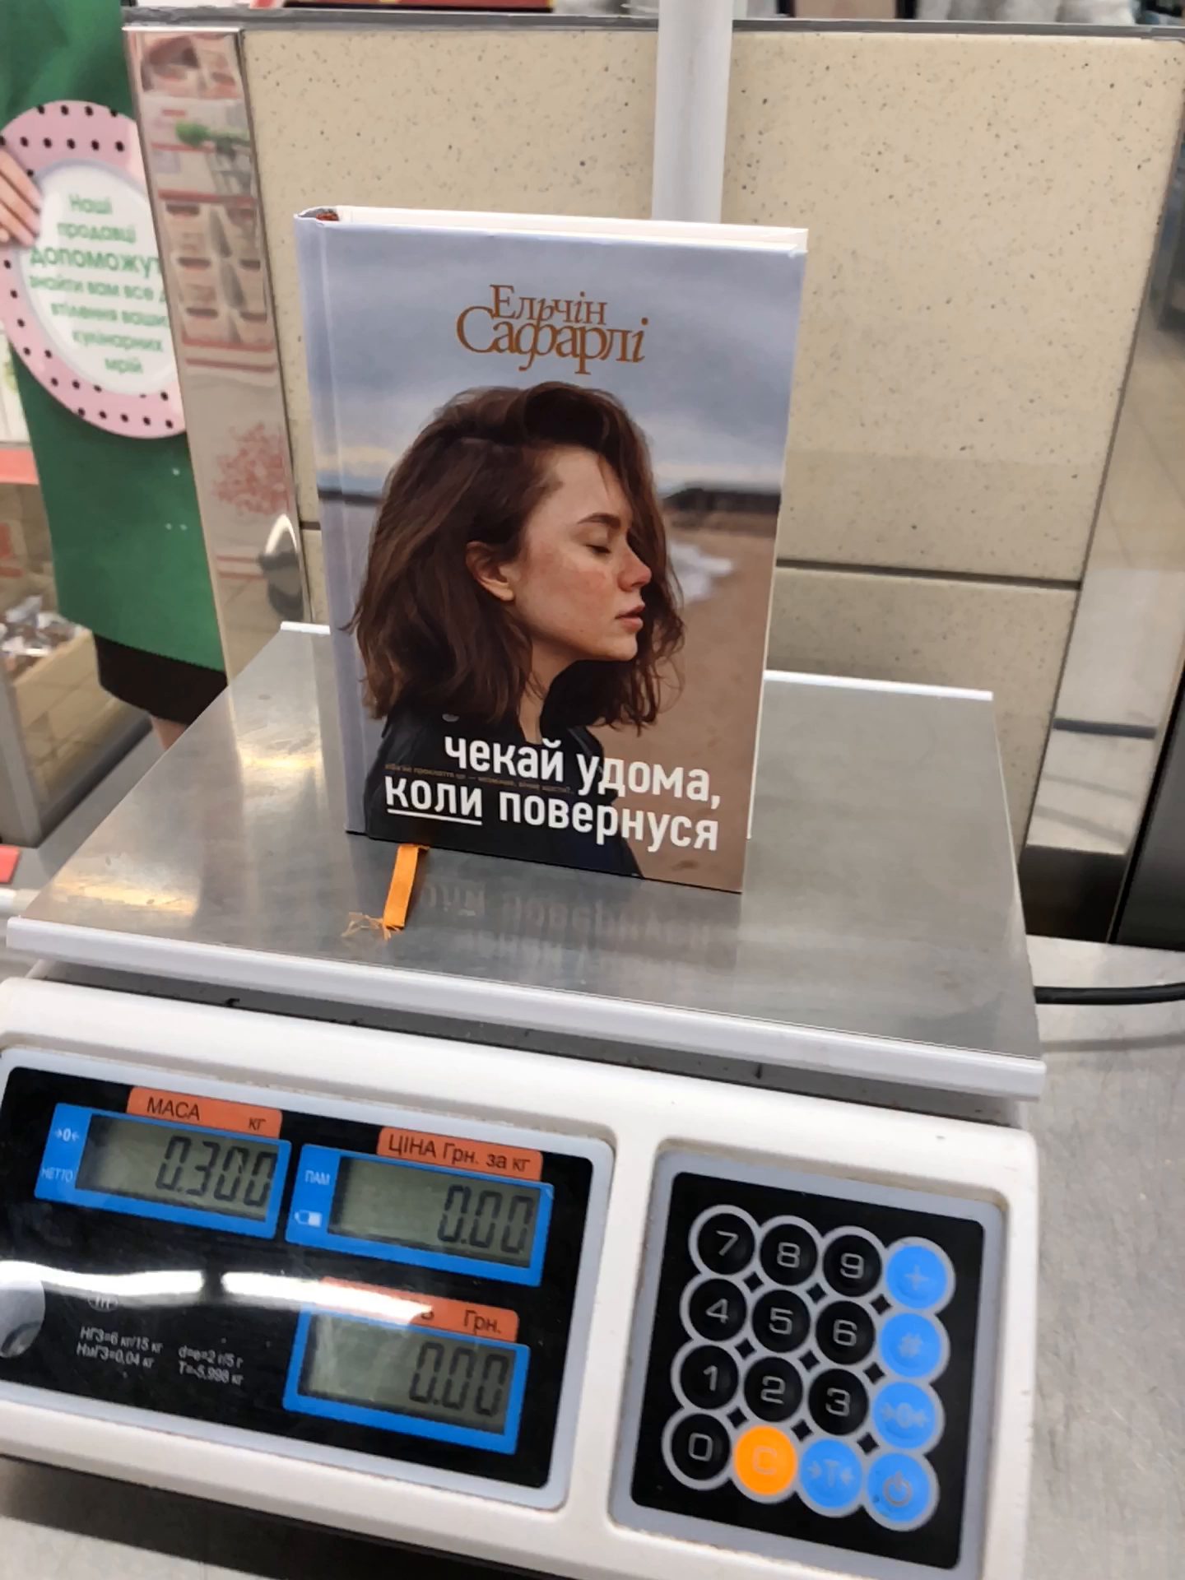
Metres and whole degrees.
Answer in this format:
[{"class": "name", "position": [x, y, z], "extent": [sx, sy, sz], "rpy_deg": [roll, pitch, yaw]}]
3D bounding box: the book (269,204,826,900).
[{"class": "book", "position": [-0.011, -0.064, 0.377], "extent": [0.137, 0.186, 0.037], "rpy_deg": [6, 30, 9]}]
